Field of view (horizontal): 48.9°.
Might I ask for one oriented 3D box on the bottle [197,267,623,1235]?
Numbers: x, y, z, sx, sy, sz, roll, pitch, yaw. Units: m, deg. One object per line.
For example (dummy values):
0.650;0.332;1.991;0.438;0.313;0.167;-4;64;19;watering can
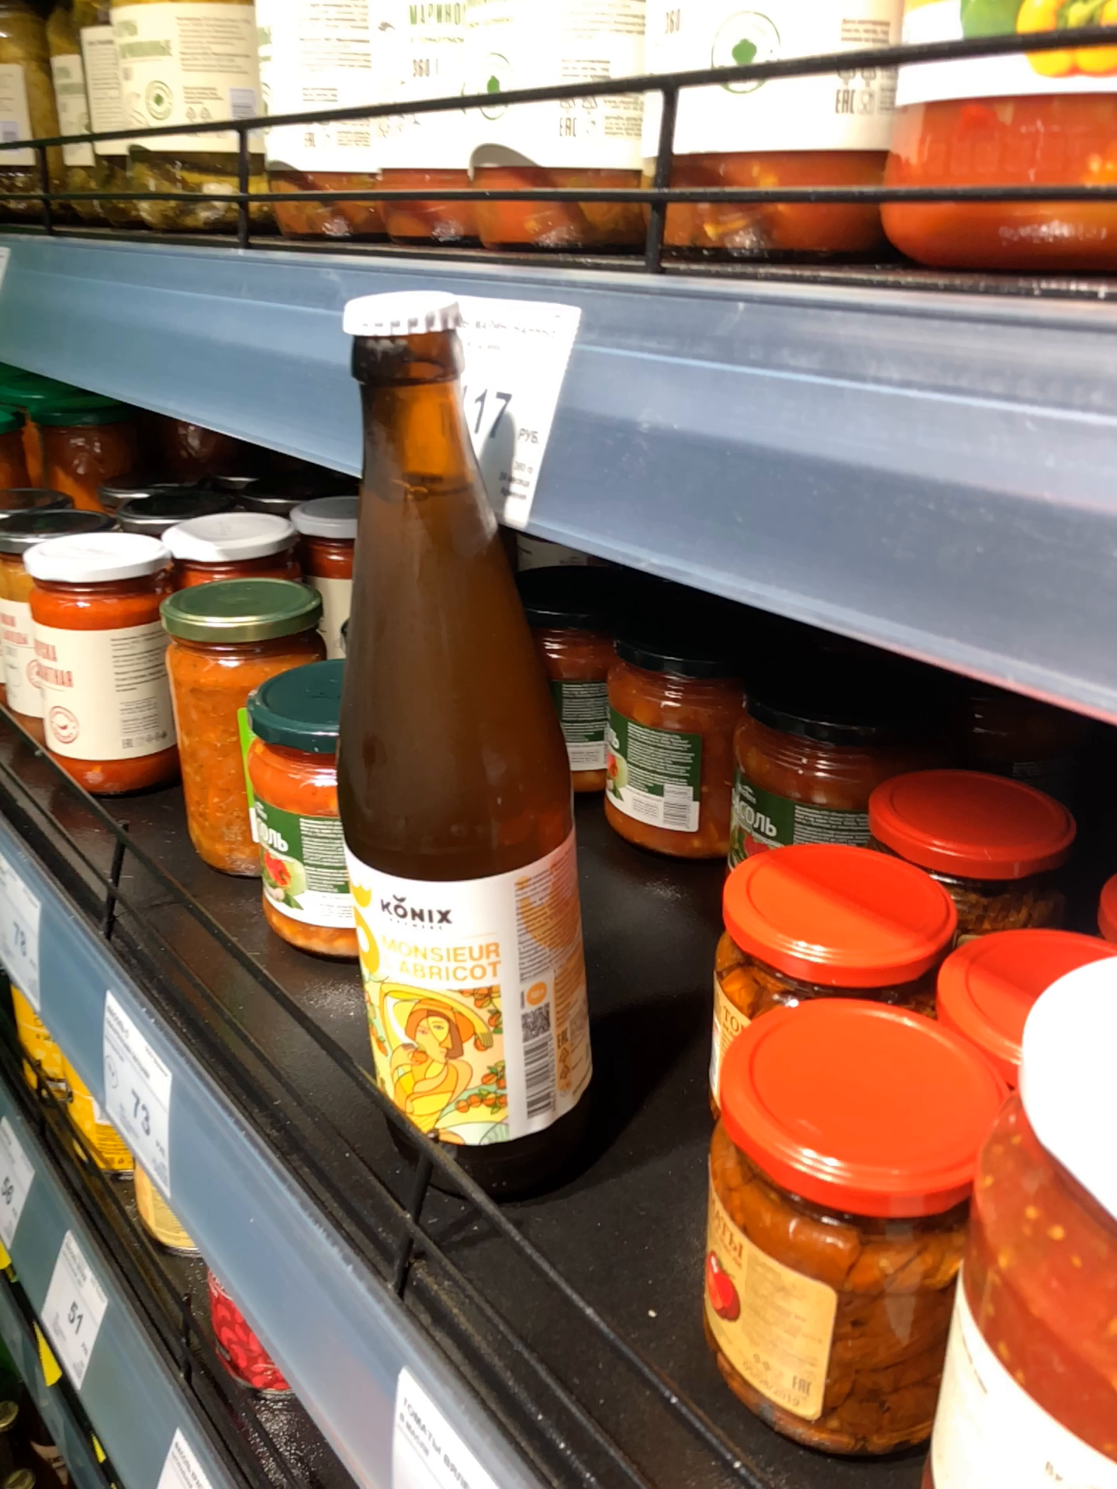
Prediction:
-0.030;0.005;0.337;0.070;0.249;0.070;-1;25;1;bottle
